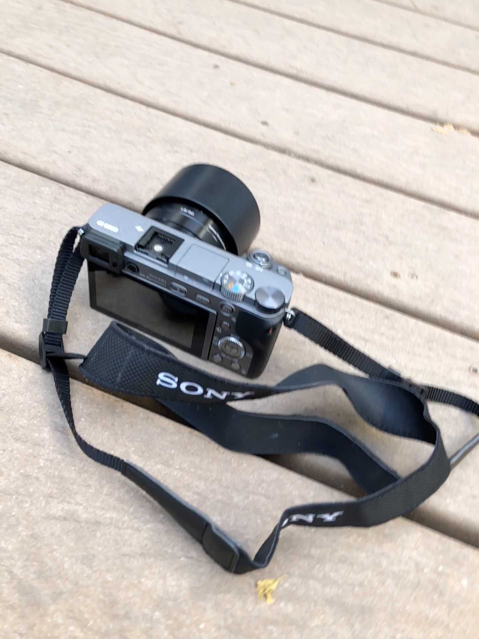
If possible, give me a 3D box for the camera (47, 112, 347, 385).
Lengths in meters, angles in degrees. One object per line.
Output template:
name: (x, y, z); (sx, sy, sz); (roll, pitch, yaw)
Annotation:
camera: (-0.021, -0.047, 0.317); (0.130, 0.070, 0.110); (23, 50, 8)
